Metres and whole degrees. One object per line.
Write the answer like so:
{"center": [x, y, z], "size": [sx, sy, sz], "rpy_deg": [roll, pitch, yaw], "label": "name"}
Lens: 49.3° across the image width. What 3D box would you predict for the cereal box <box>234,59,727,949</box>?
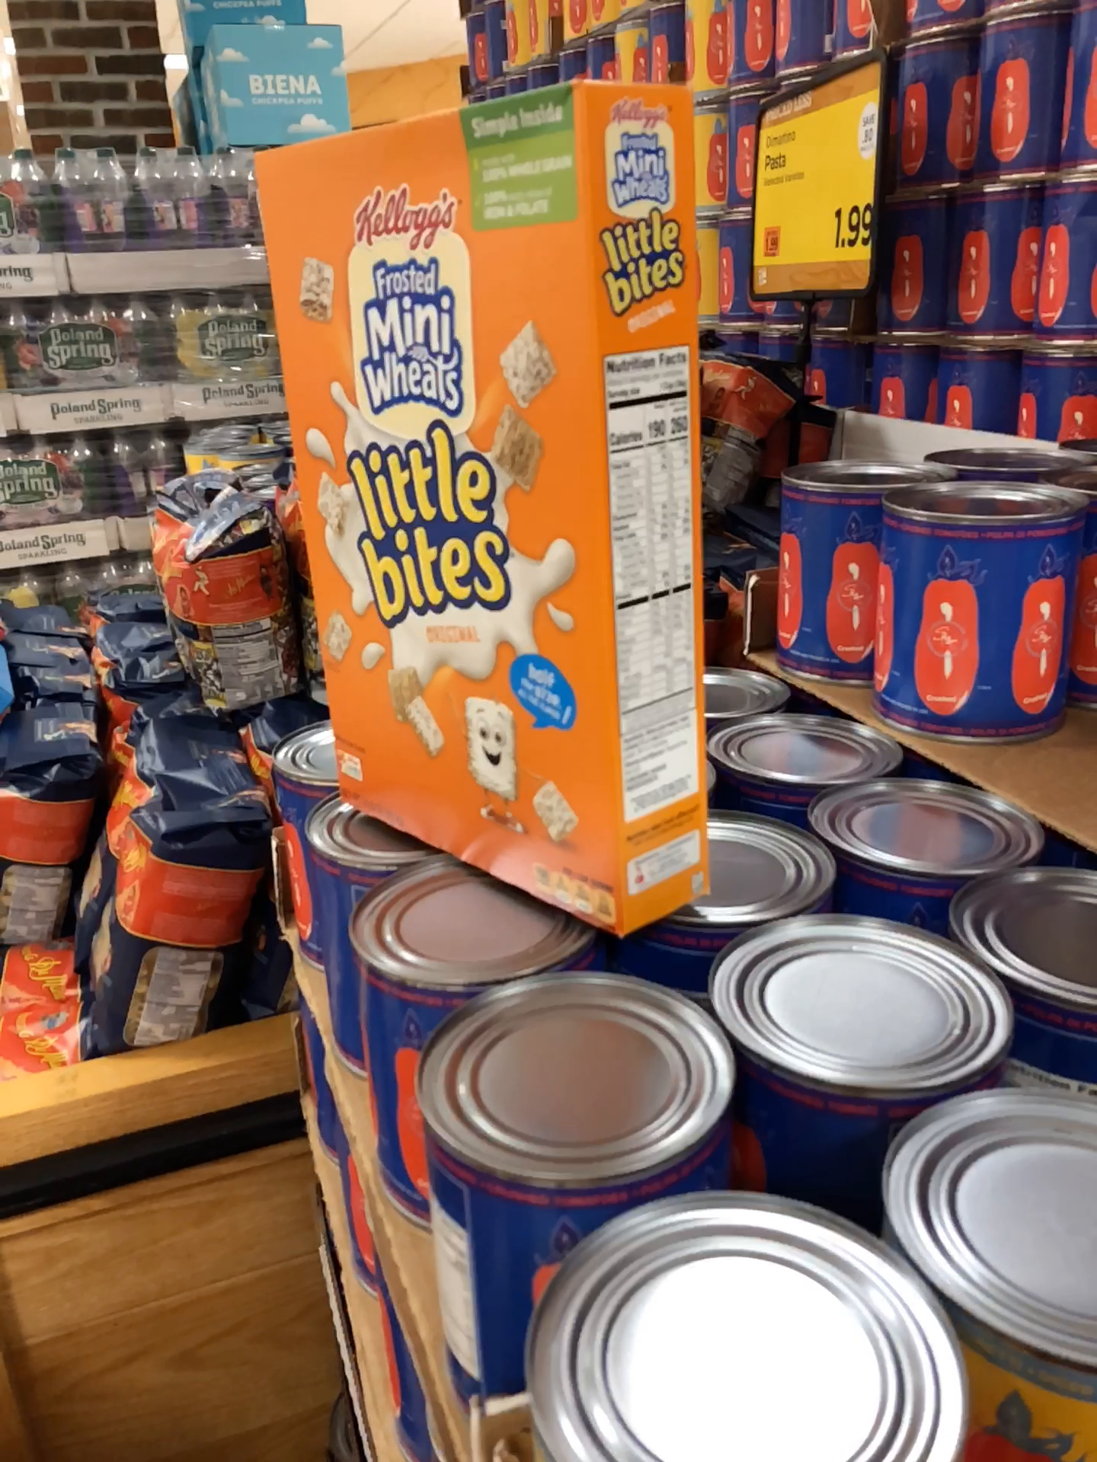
{"center": [-0.027, -0.087, 0.477], "size": [0.060, 0.288, 0.200], "rpy_deg": [-21, 27, -39], "label": "cereal box"}
